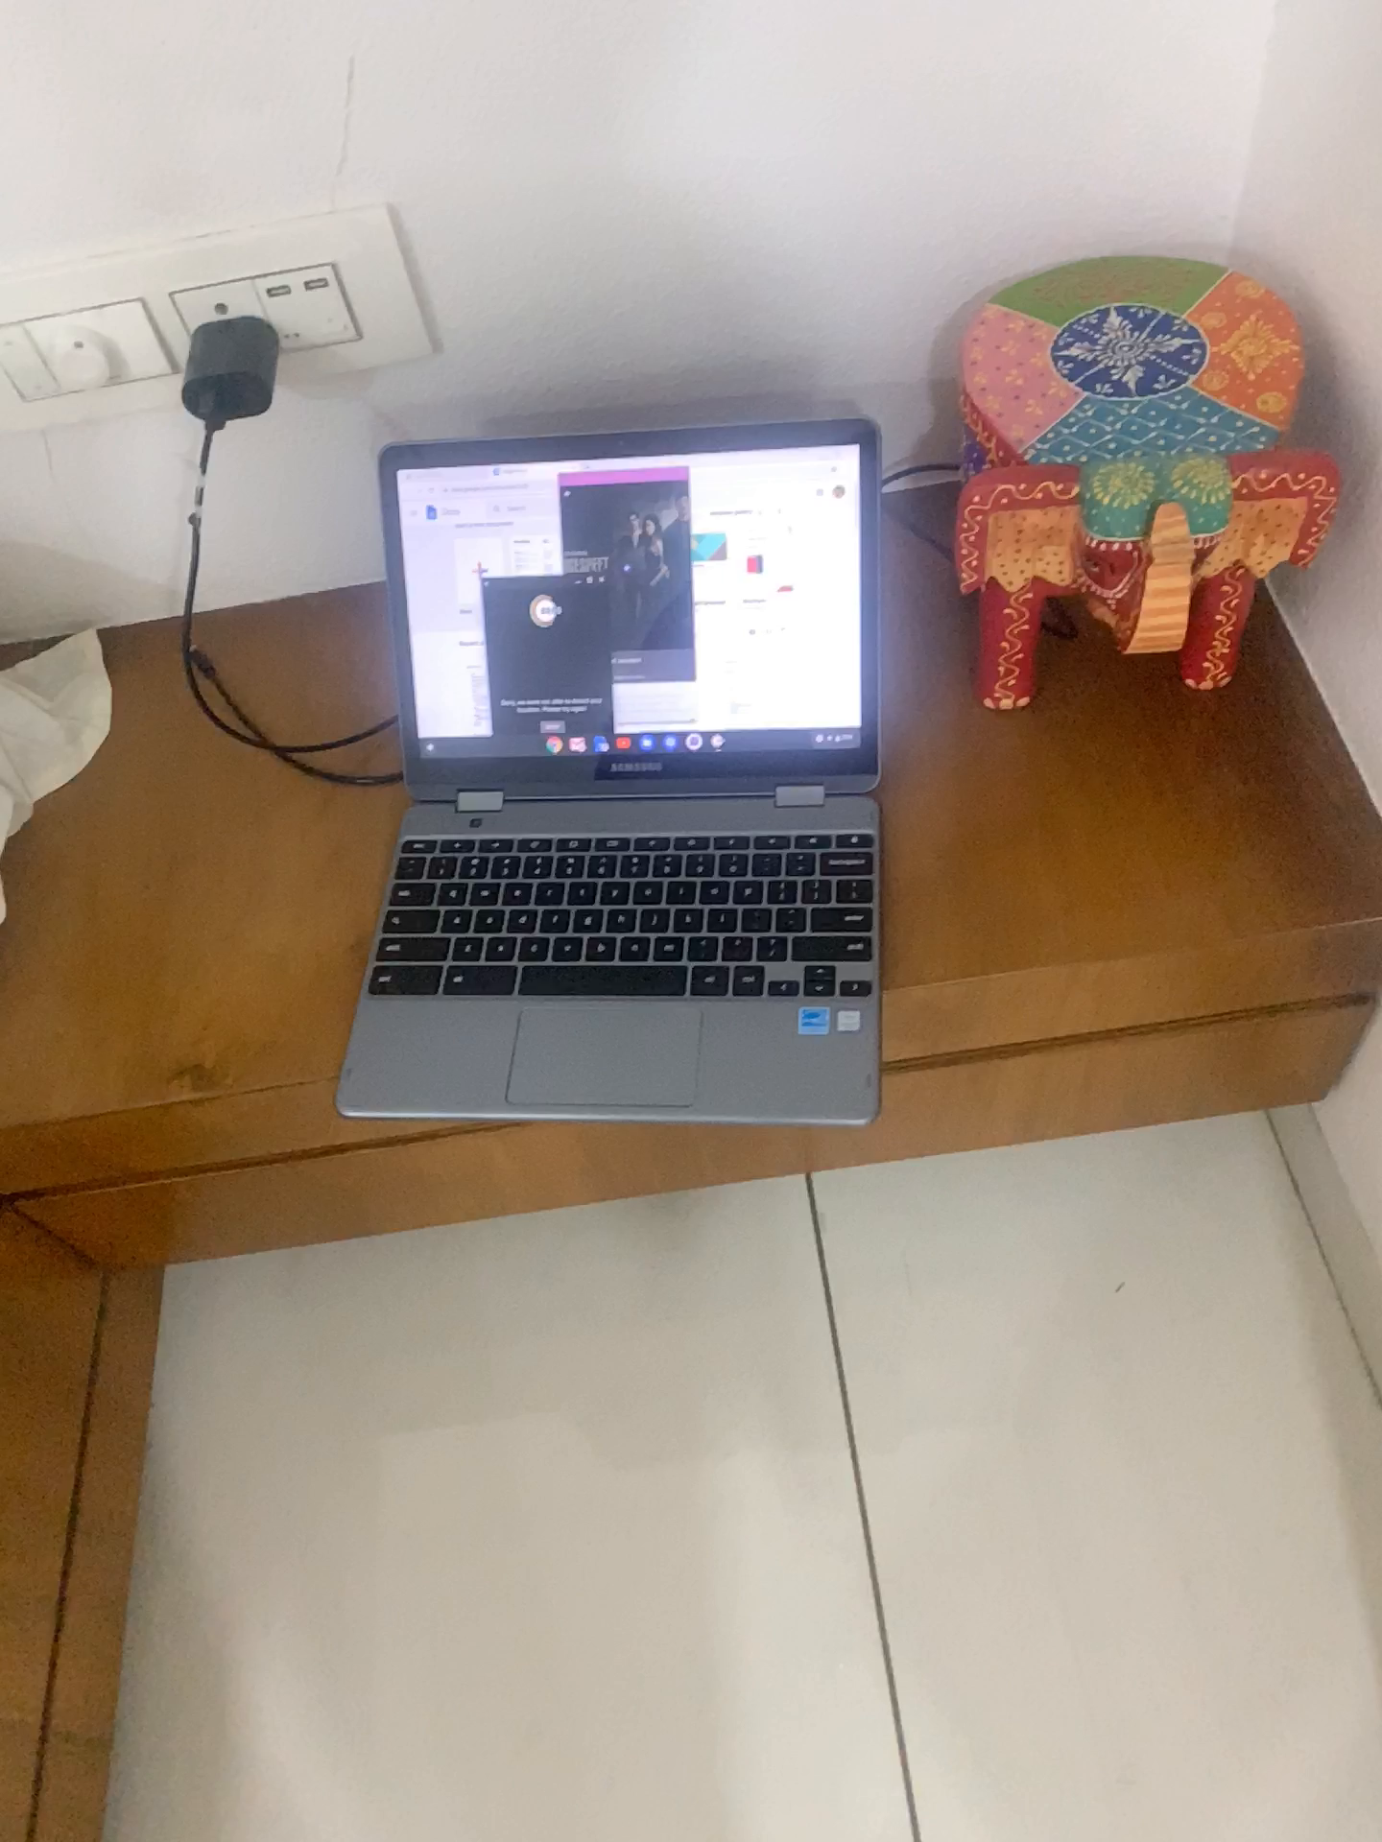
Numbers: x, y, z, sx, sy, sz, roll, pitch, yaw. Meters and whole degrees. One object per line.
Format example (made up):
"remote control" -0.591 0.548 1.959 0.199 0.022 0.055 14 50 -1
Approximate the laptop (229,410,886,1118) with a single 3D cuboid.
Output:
"laptop" -0.047 -0.095 0.844 0.314 0.164 0.384 0 58 10
